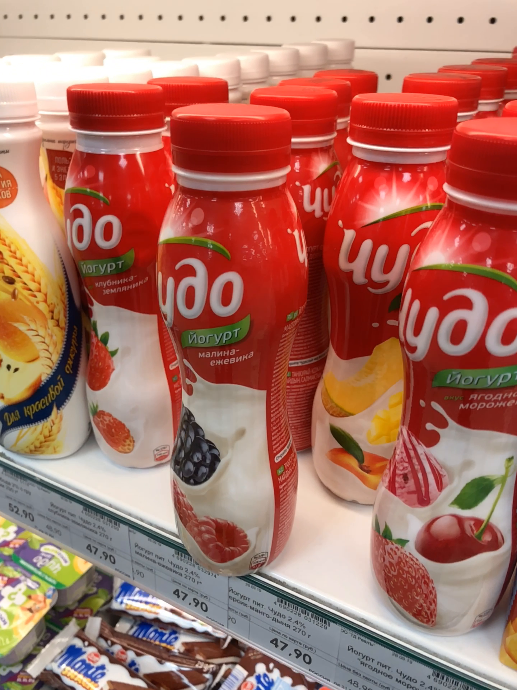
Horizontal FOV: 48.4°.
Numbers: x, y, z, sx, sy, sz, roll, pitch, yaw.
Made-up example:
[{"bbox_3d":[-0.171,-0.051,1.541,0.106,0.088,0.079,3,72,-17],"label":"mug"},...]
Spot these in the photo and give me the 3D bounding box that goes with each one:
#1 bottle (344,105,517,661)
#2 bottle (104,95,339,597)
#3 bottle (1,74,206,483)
[{"bbox_3d":[0.071,0.019,0.199,0.054,0.181,0.050,0,29,0],"label":"bottle"},{"bbox_3d":[-0.011,0.006,0.223,0.054,0.181,0.050,0,29,0],"label":"bottle"},{"bbox_3d":[-0.066,-0.027,0.277,0.054,0.181,0.050,0,29,0],"label":"bottle"}]
